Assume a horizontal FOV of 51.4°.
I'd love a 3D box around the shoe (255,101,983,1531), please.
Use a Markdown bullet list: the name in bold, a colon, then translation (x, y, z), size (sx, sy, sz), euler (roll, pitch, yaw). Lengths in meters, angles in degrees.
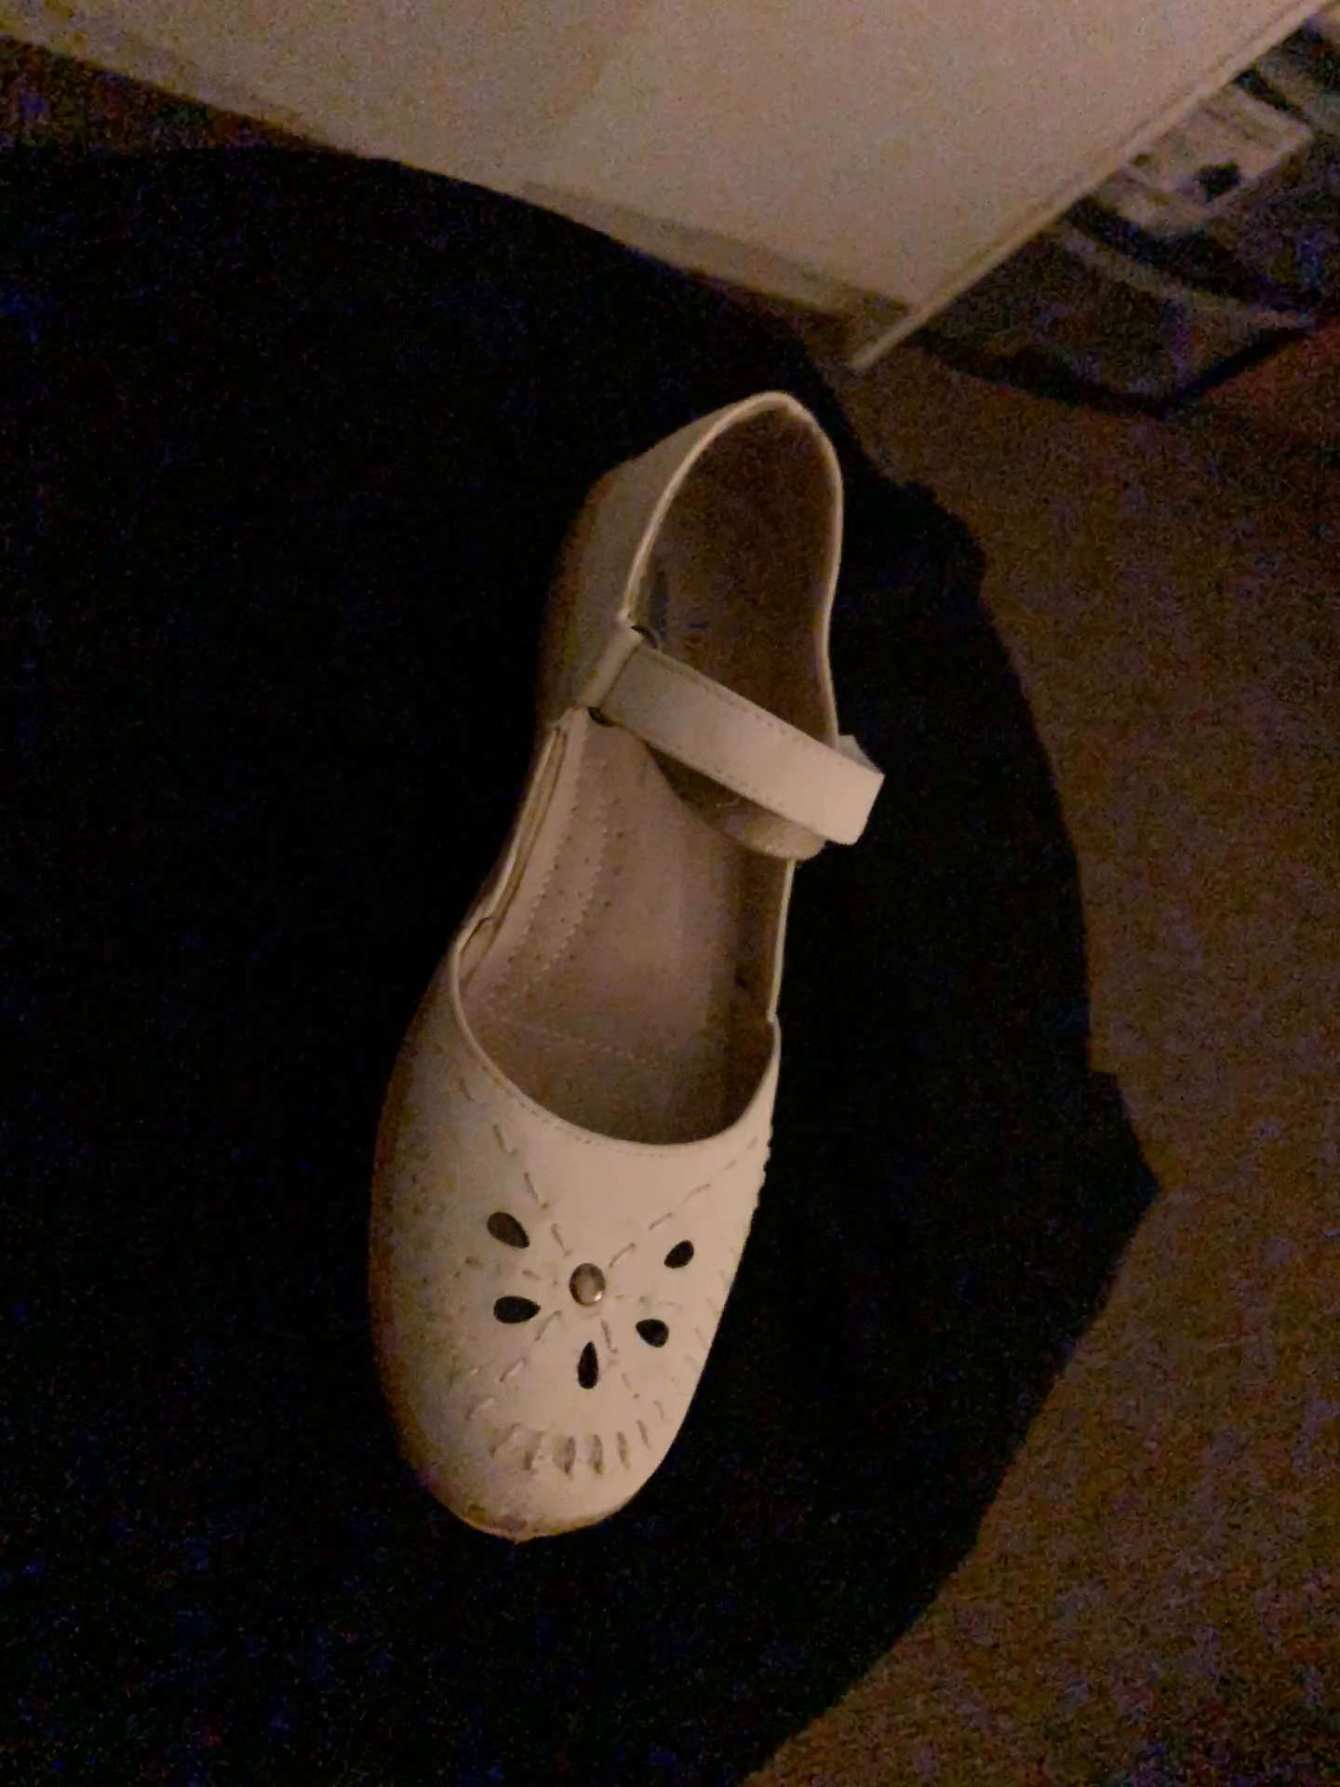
- **shoe**: translation (-0.006, -0.014, 0.312), size (0.098, 0.099, 0.271), euler (15, 71, -27)
